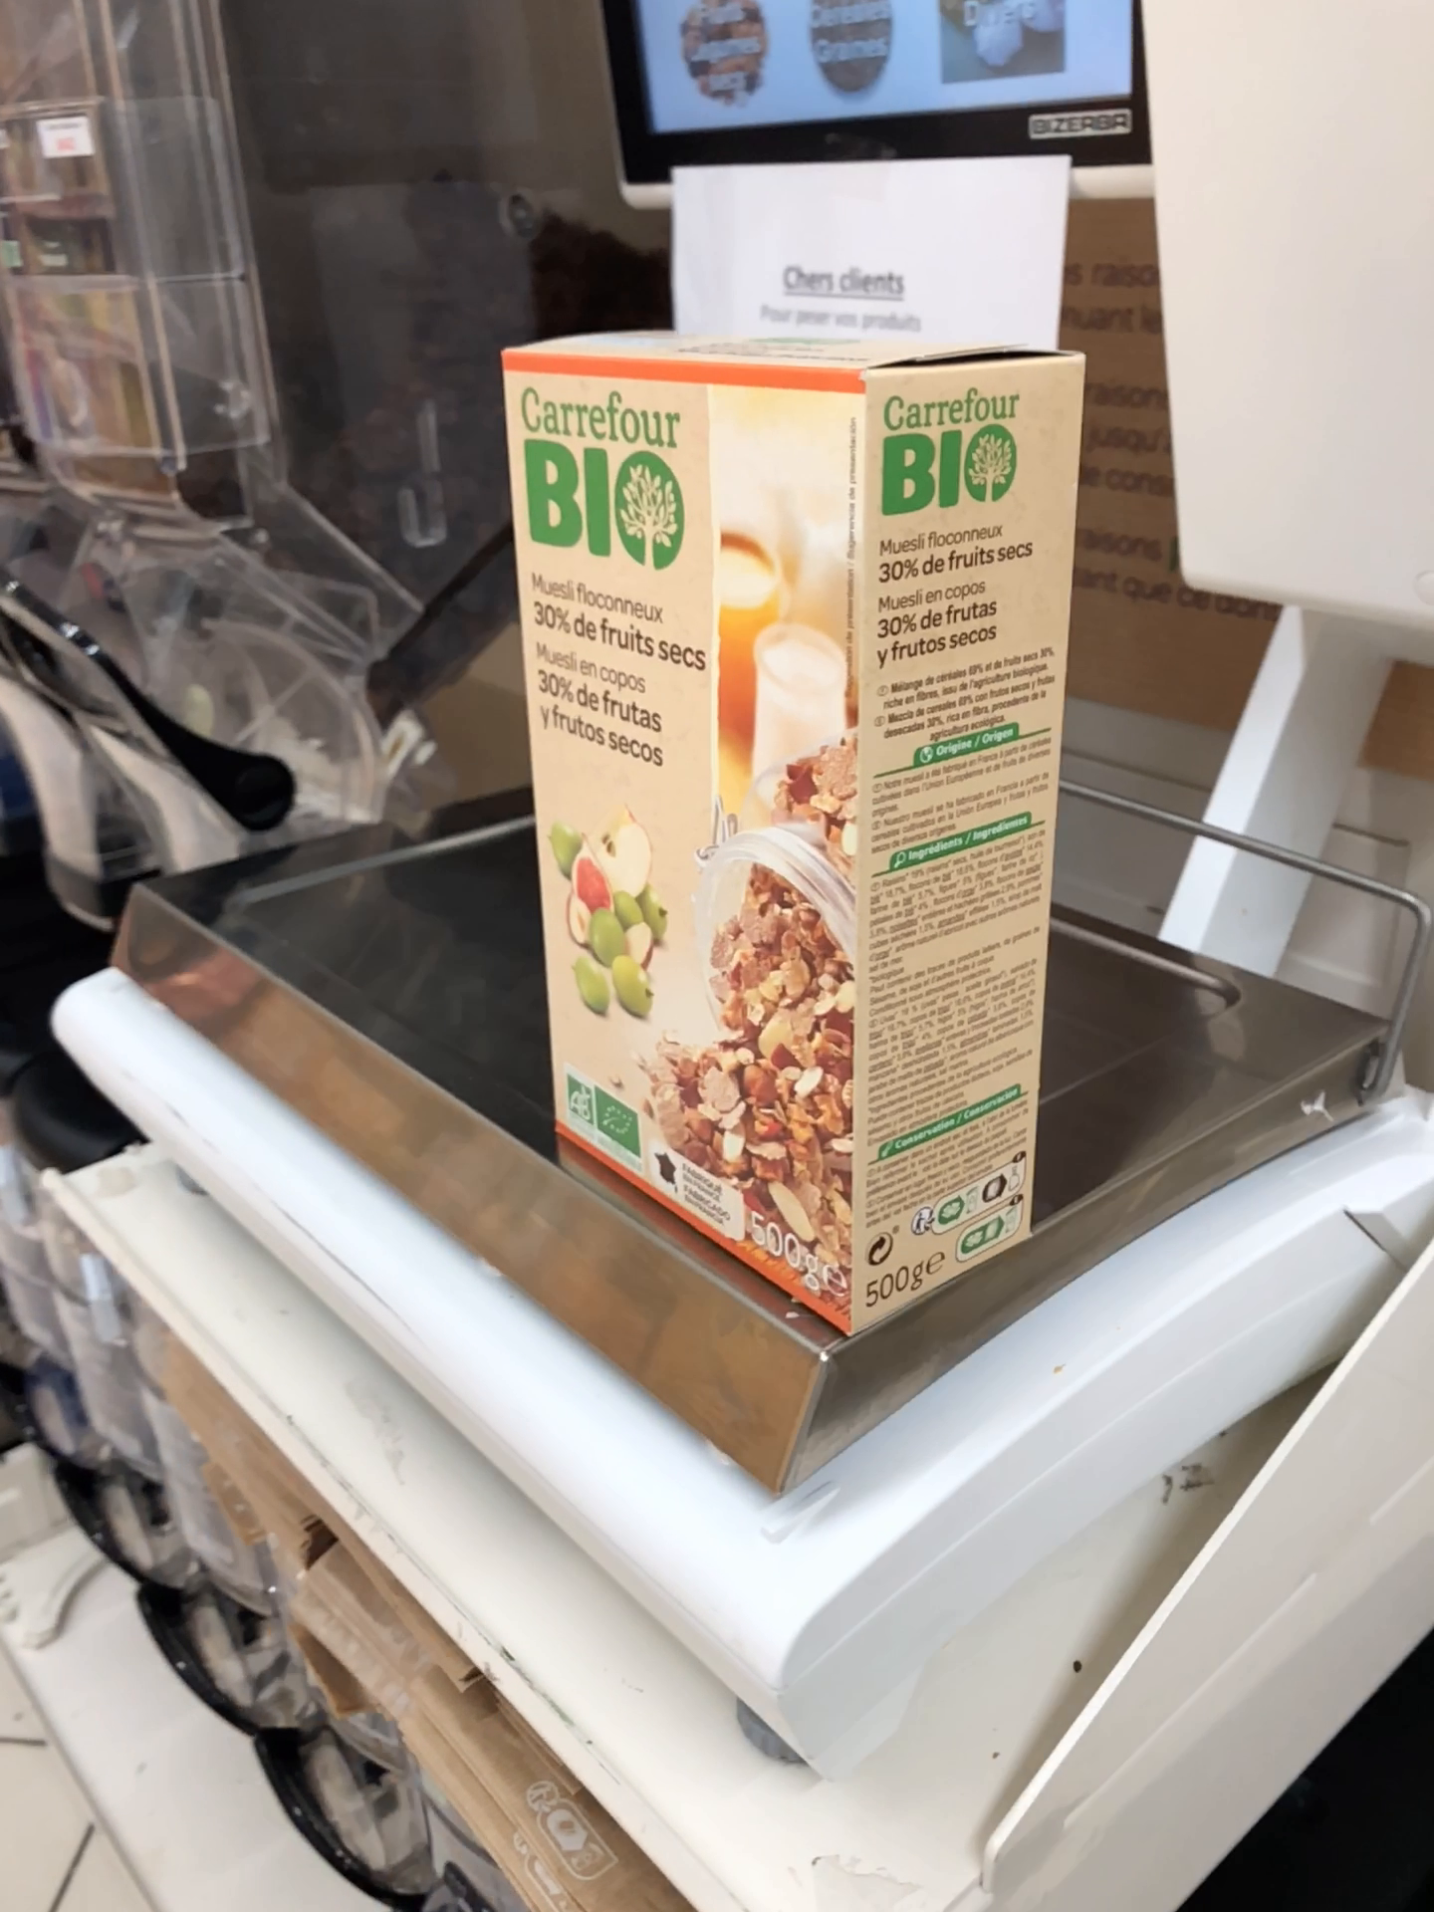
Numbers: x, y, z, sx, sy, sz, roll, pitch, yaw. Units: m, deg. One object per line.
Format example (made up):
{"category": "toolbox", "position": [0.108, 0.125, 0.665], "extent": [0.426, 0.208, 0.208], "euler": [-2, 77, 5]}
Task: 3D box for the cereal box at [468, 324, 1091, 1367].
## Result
{"category": "cereal box", "position": [0.011, -0.033, 0.372], "extent": [0.060, 0.209, 0.130], "euler": [-19, 29, -33]}
